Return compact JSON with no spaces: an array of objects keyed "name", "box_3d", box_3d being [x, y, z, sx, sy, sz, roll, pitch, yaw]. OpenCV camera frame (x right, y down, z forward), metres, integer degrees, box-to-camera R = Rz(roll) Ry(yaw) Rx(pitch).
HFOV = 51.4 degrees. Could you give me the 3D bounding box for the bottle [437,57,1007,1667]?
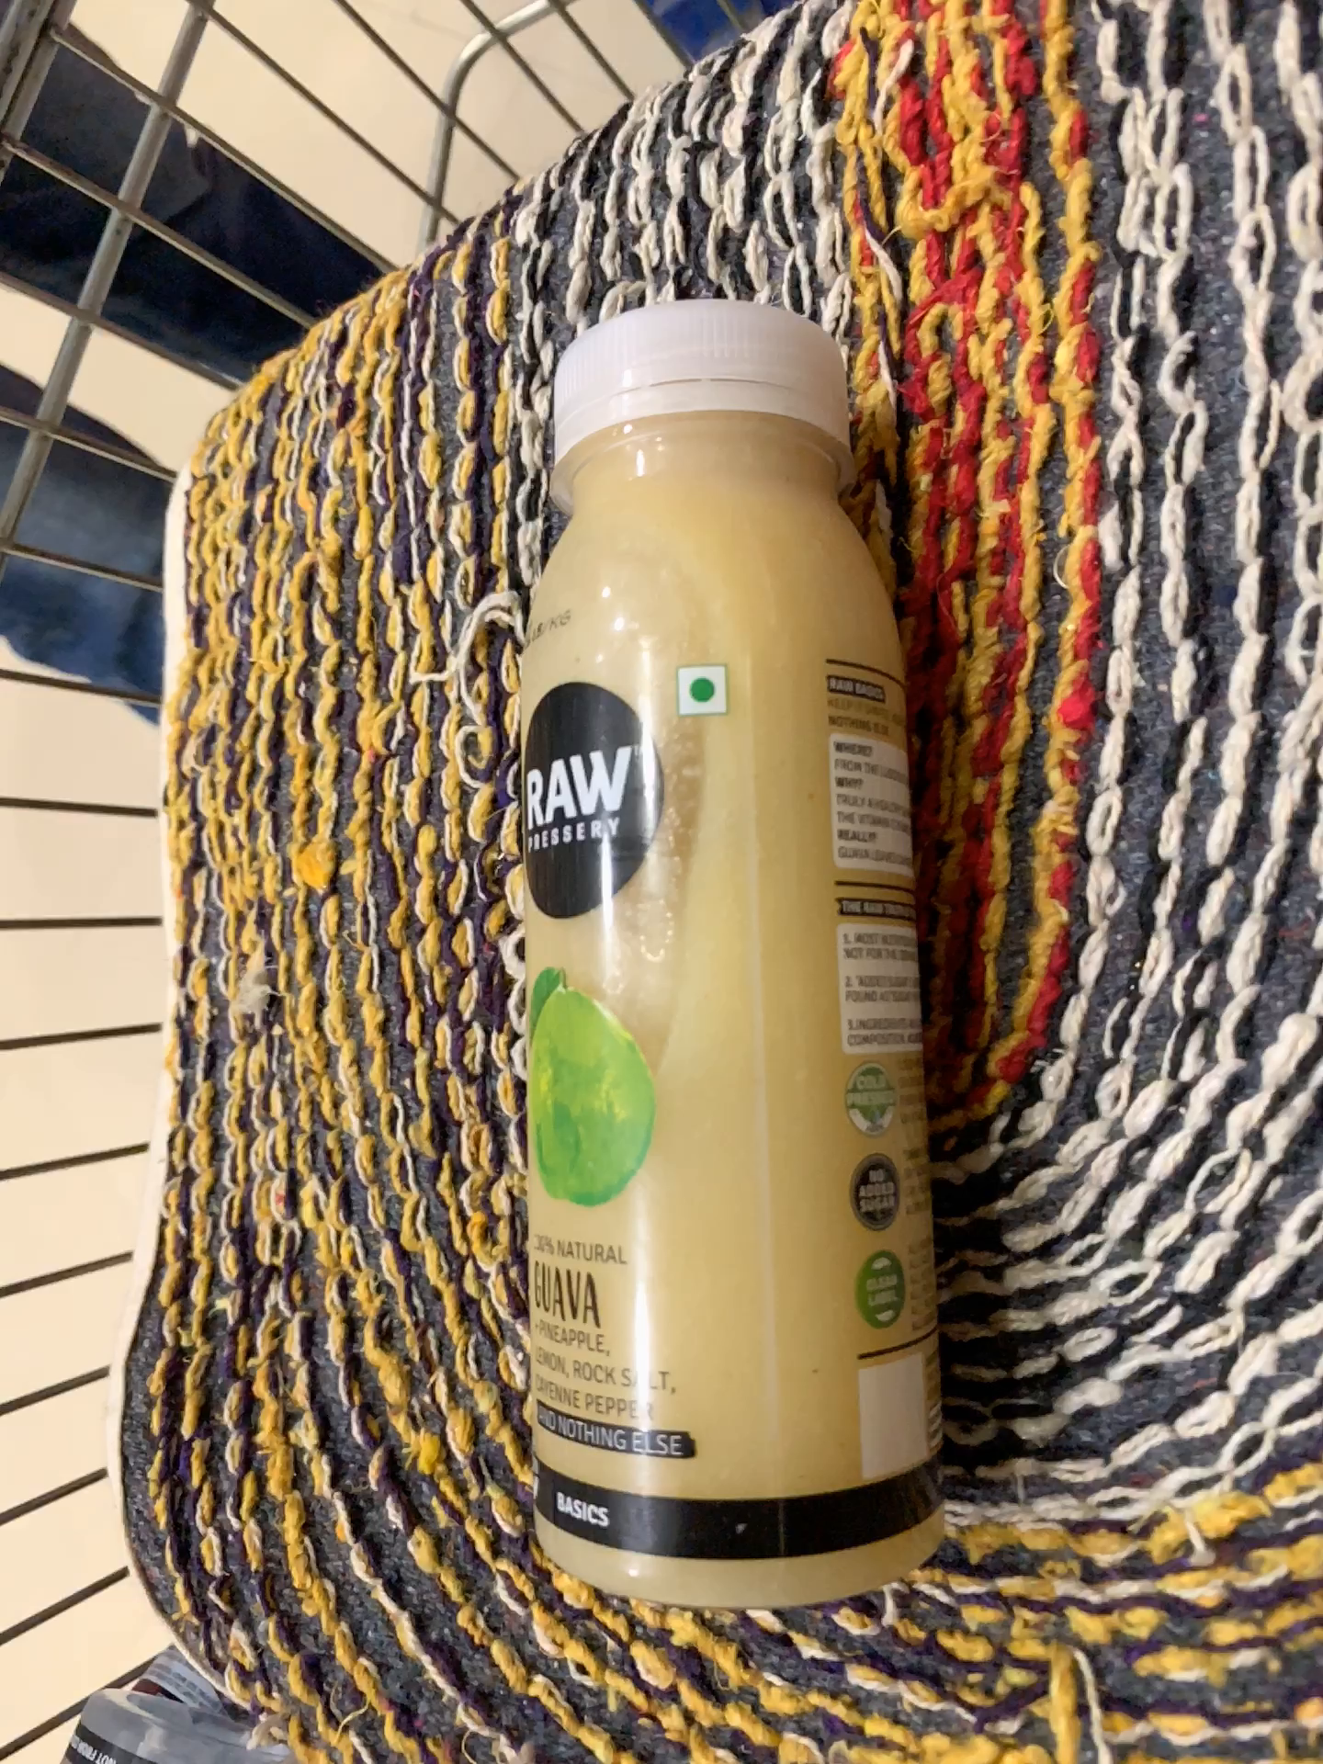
[{"name":"bottle","box_3d":[0.006,-0.004,0.166,0.050,0.040,0.160,-9,78,44]}]
